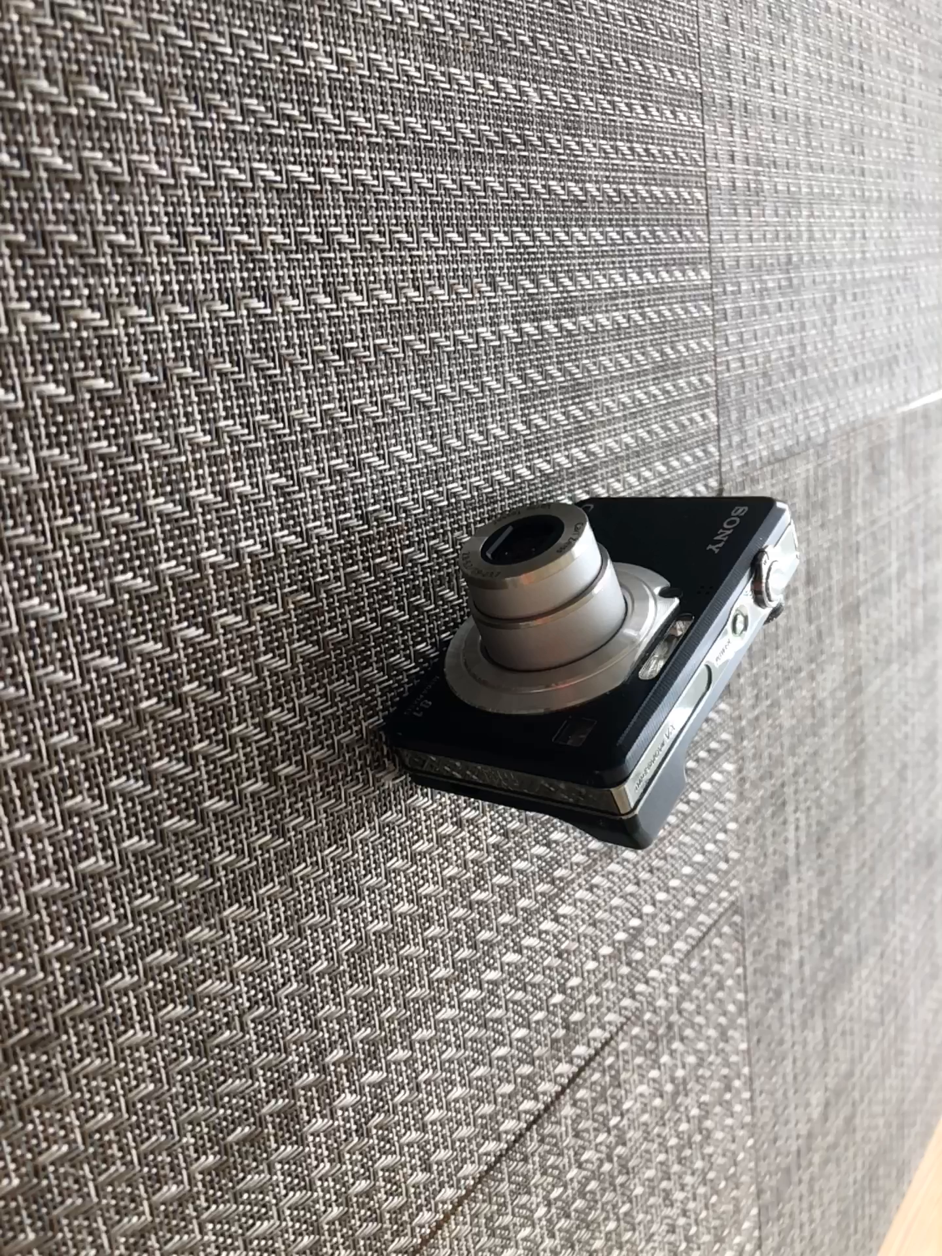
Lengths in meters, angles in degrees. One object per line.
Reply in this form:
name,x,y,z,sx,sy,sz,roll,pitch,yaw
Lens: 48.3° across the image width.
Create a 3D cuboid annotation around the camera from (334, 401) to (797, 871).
camera,0.027,-0.004,0.232,0.096,0.052,0.049,-49,131,-37
